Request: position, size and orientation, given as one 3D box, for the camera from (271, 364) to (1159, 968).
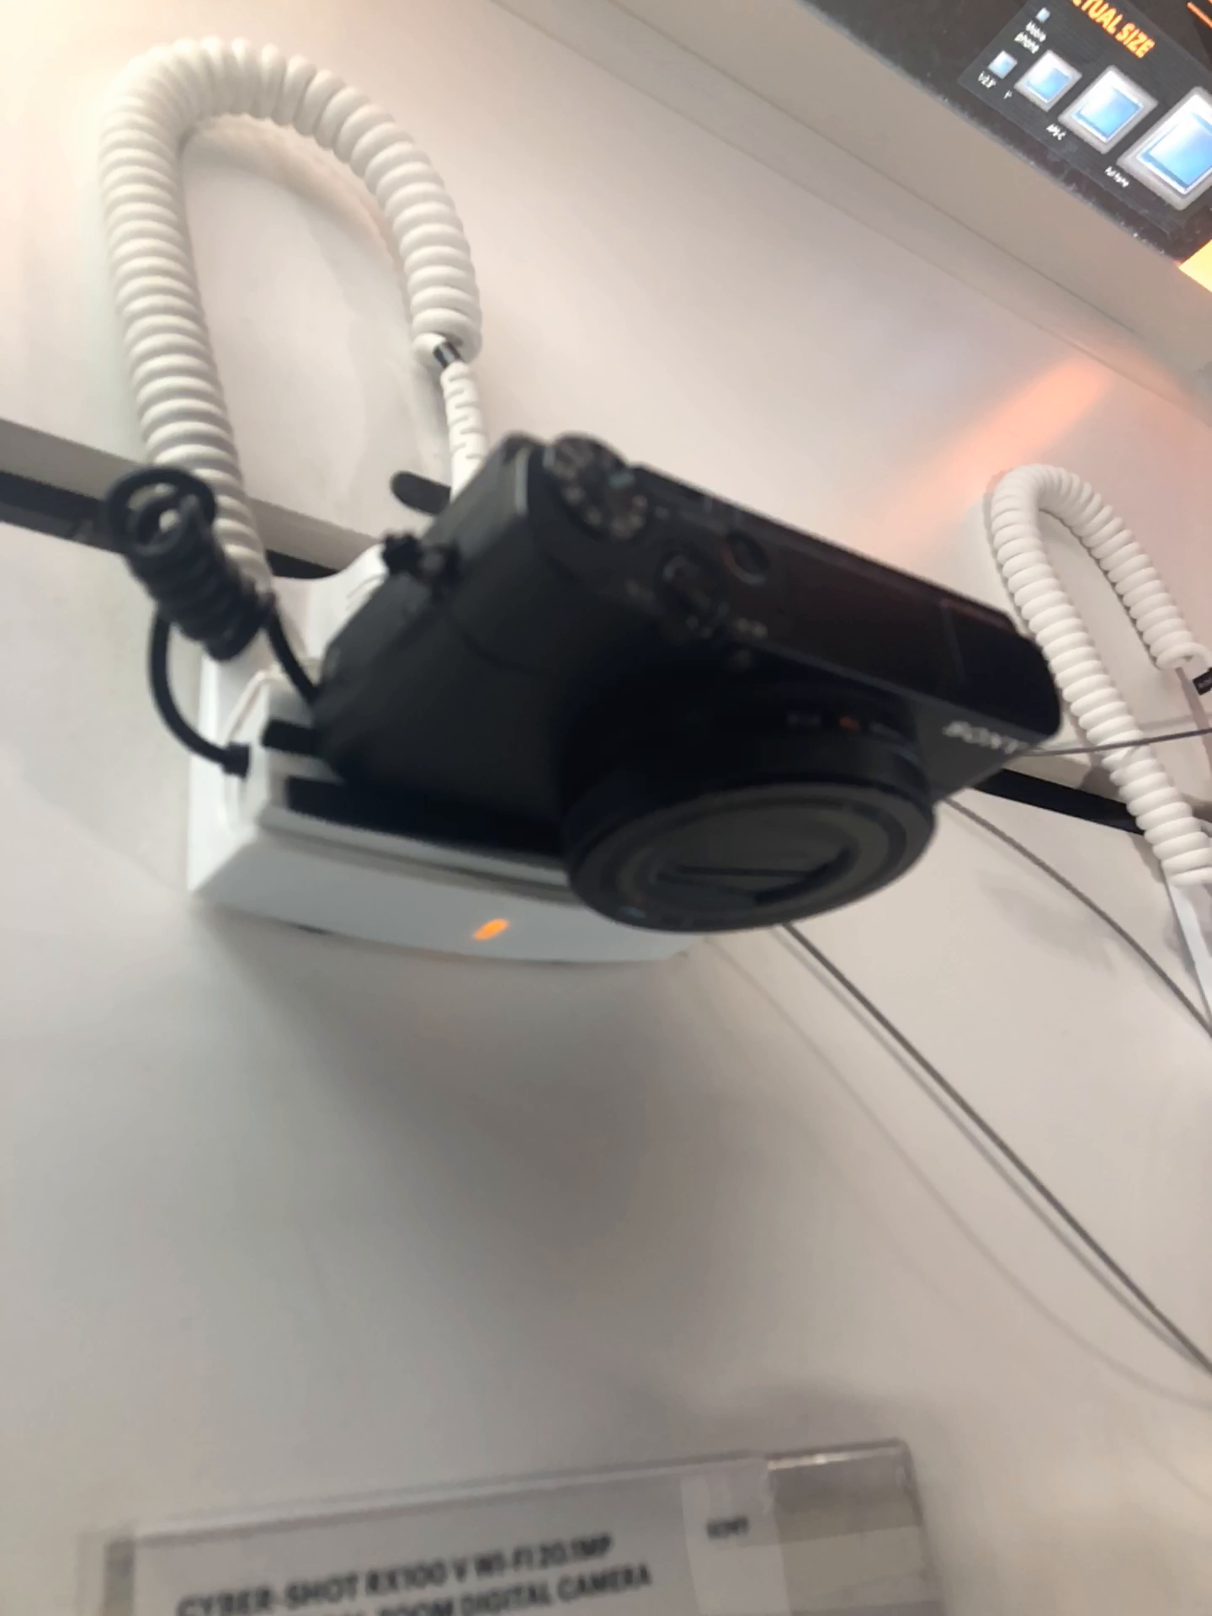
[{"bbox_3d":[0.014,-0.010,0.184,0.101,0.063,0.032,13,57,-33],"label":"camera"}]
